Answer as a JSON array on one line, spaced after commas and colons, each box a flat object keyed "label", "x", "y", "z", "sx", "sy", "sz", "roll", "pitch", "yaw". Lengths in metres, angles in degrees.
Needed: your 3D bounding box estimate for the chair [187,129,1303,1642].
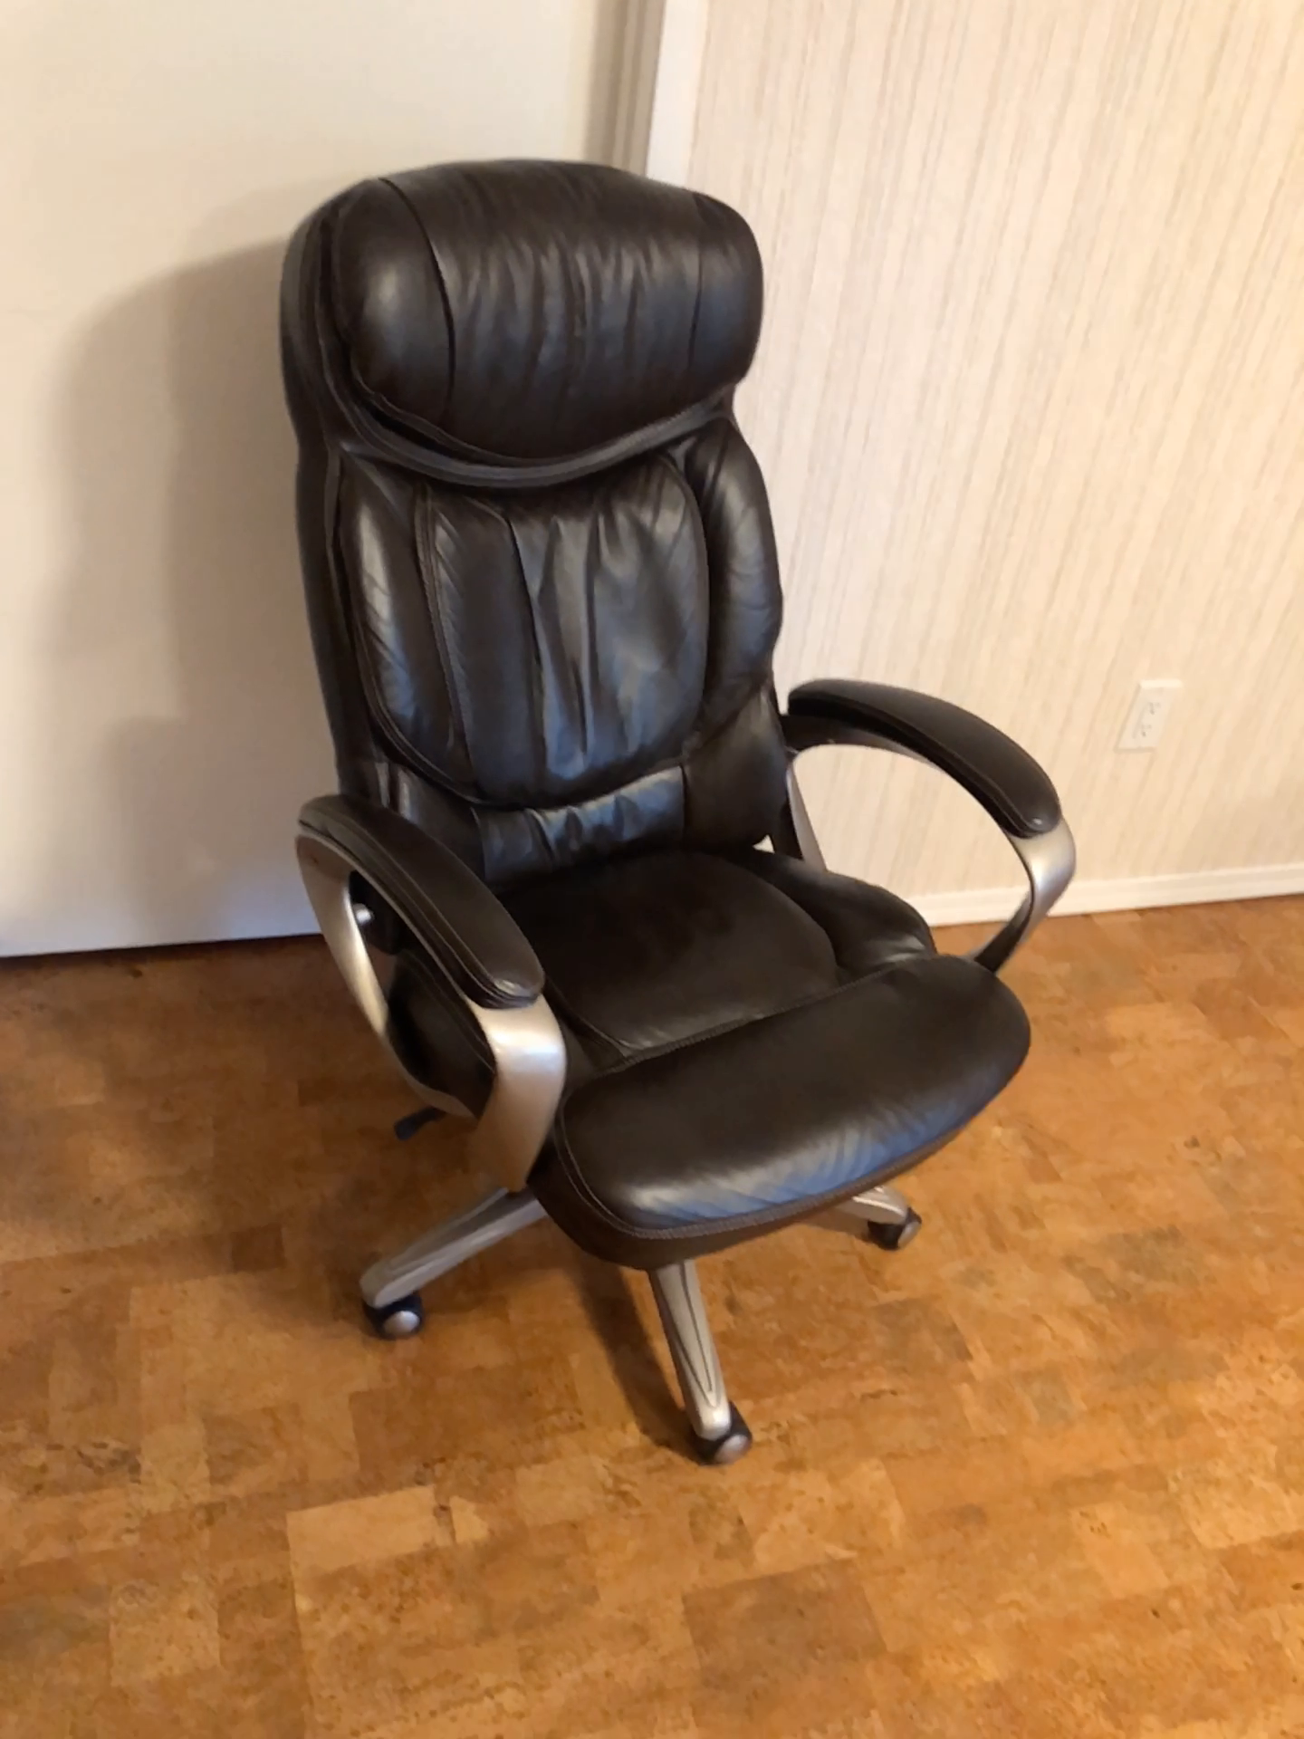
[{"label": "chair", "x": 0.063, "y": -0.020, "z": 1.341, "sx": 0.691, "sy": 1.086, "sz": 0.651, "roll": -19, "pitch": 44, "yaw": -33}]
